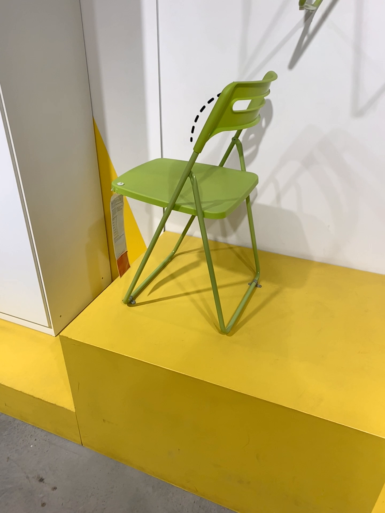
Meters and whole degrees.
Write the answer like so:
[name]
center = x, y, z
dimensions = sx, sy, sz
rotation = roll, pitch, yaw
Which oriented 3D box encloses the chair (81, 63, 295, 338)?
[chair]
center = 0.011, -0.212, 1.283
dimensions = 0.461, 0.717, 0.451
rotation = 13, 32, 20
